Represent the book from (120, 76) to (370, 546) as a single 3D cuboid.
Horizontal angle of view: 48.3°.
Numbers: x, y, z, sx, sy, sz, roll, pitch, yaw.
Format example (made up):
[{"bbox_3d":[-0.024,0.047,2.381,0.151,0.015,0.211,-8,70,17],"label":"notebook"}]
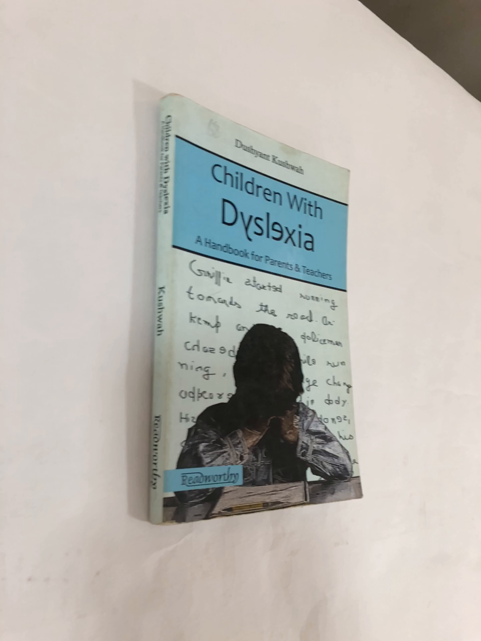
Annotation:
[{"bbox_3d":[0.010,-0.003,0.305,0.151,0.030,0.220,8,76,-40],"label":"book"}]
